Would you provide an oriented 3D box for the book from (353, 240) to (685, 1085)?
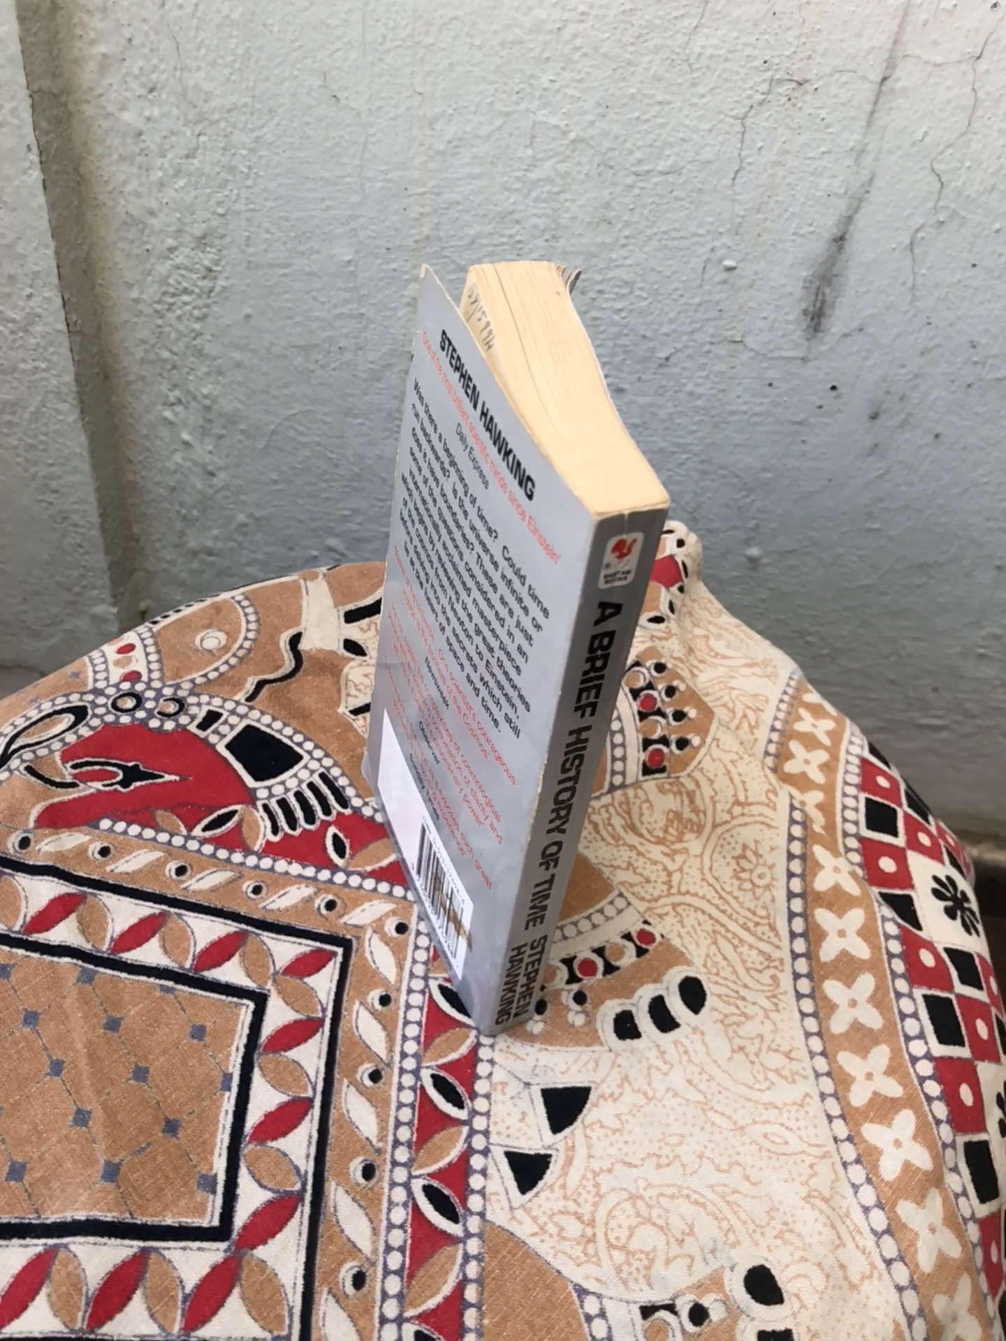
[{"bbox_3d":[-0.010,0.000,0.287,0.030,0.169,0.131,-4,43,-15],"label":"book"}]
